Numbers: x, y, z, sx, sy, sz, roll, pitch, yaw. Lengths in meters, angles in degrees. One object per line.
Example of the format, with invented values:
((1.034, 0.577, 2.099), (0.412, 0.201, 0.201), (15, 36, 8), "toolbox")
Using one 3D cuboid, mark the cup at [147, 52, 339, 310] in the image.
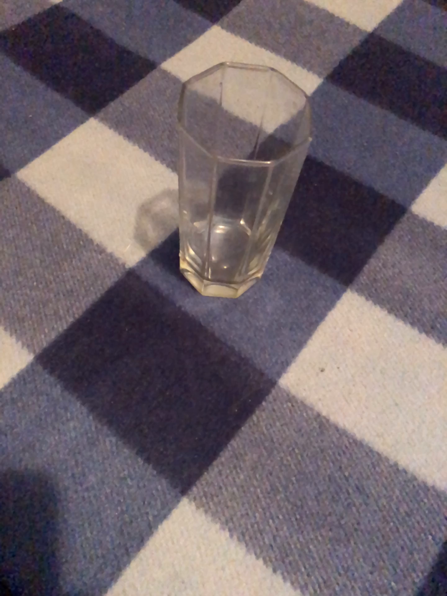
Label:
((0.002, -0.062, 0.301), (0.082, 0.137, 0.077), (2, 62, -4), "cup")
